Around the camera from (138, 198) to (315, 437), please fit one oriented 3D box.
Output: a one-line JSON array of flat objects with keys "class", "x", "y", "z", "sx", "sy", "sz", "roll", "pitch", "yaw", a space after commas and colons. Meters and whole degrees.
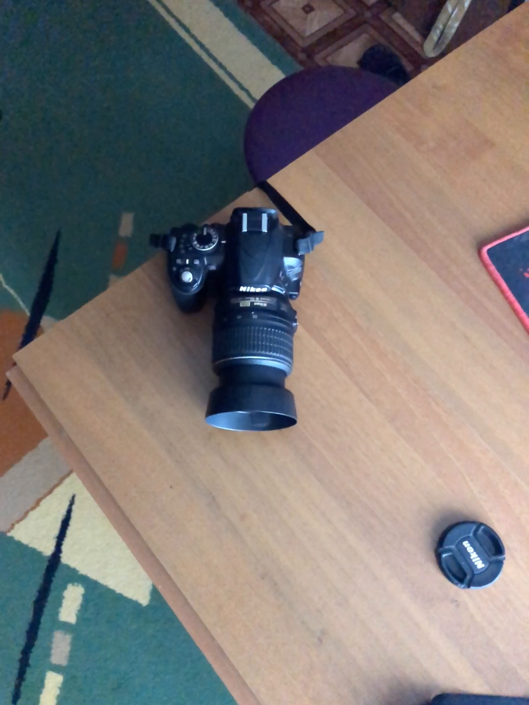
[{"class": "camera", "x": -0.027, "y": -0.028, "z": 0.520, "sx": 0.129, "sy": 0.092, "sz": 0.183, "roll": 4, "pitch": 72, "yaw": 1}]
